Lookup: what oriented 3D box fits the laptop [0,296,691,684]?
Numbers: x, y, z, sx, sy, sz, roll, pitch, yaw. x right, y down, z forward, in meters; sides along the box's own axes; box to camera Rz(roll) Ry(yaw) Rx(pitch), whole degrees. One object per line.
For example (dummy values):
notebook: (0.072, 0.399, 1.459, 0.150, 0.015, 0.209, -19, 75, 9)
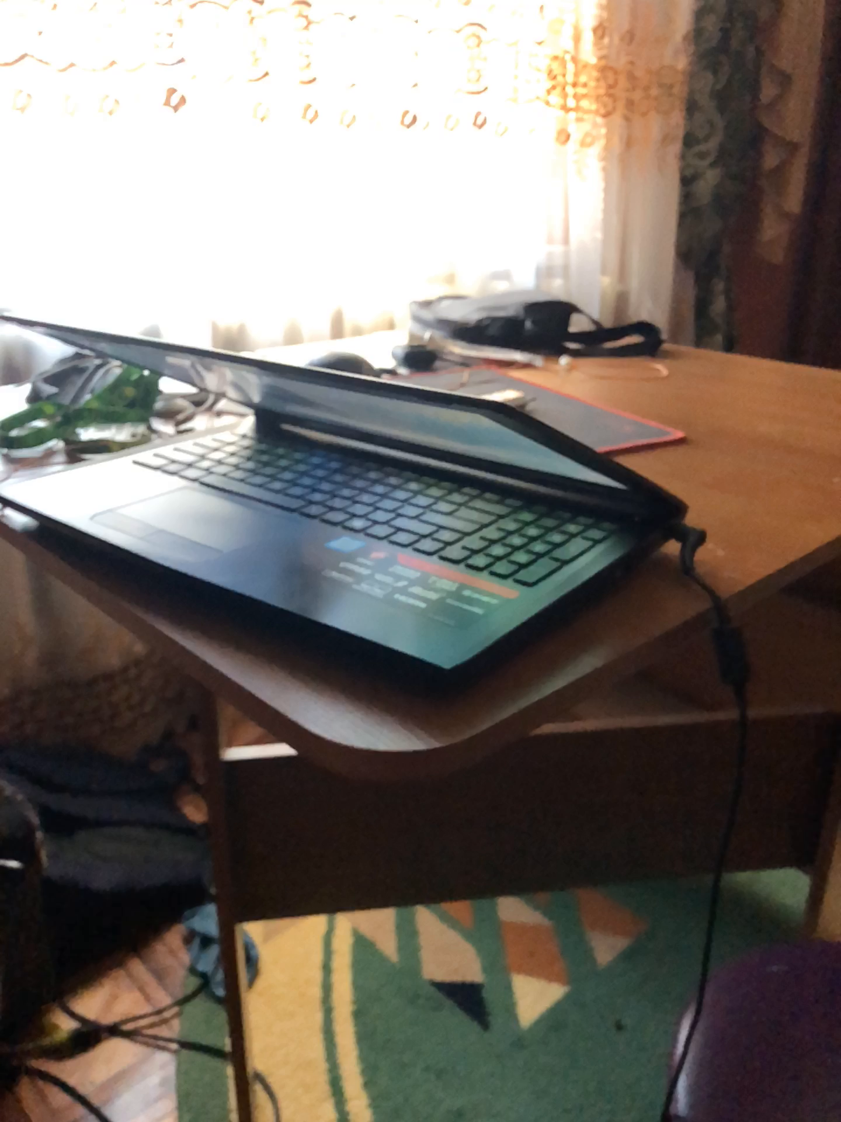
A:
laptop: (-0.063, -0.080, 0.558, 0.372, 0.095, 0.239, 17, 29, 36)
